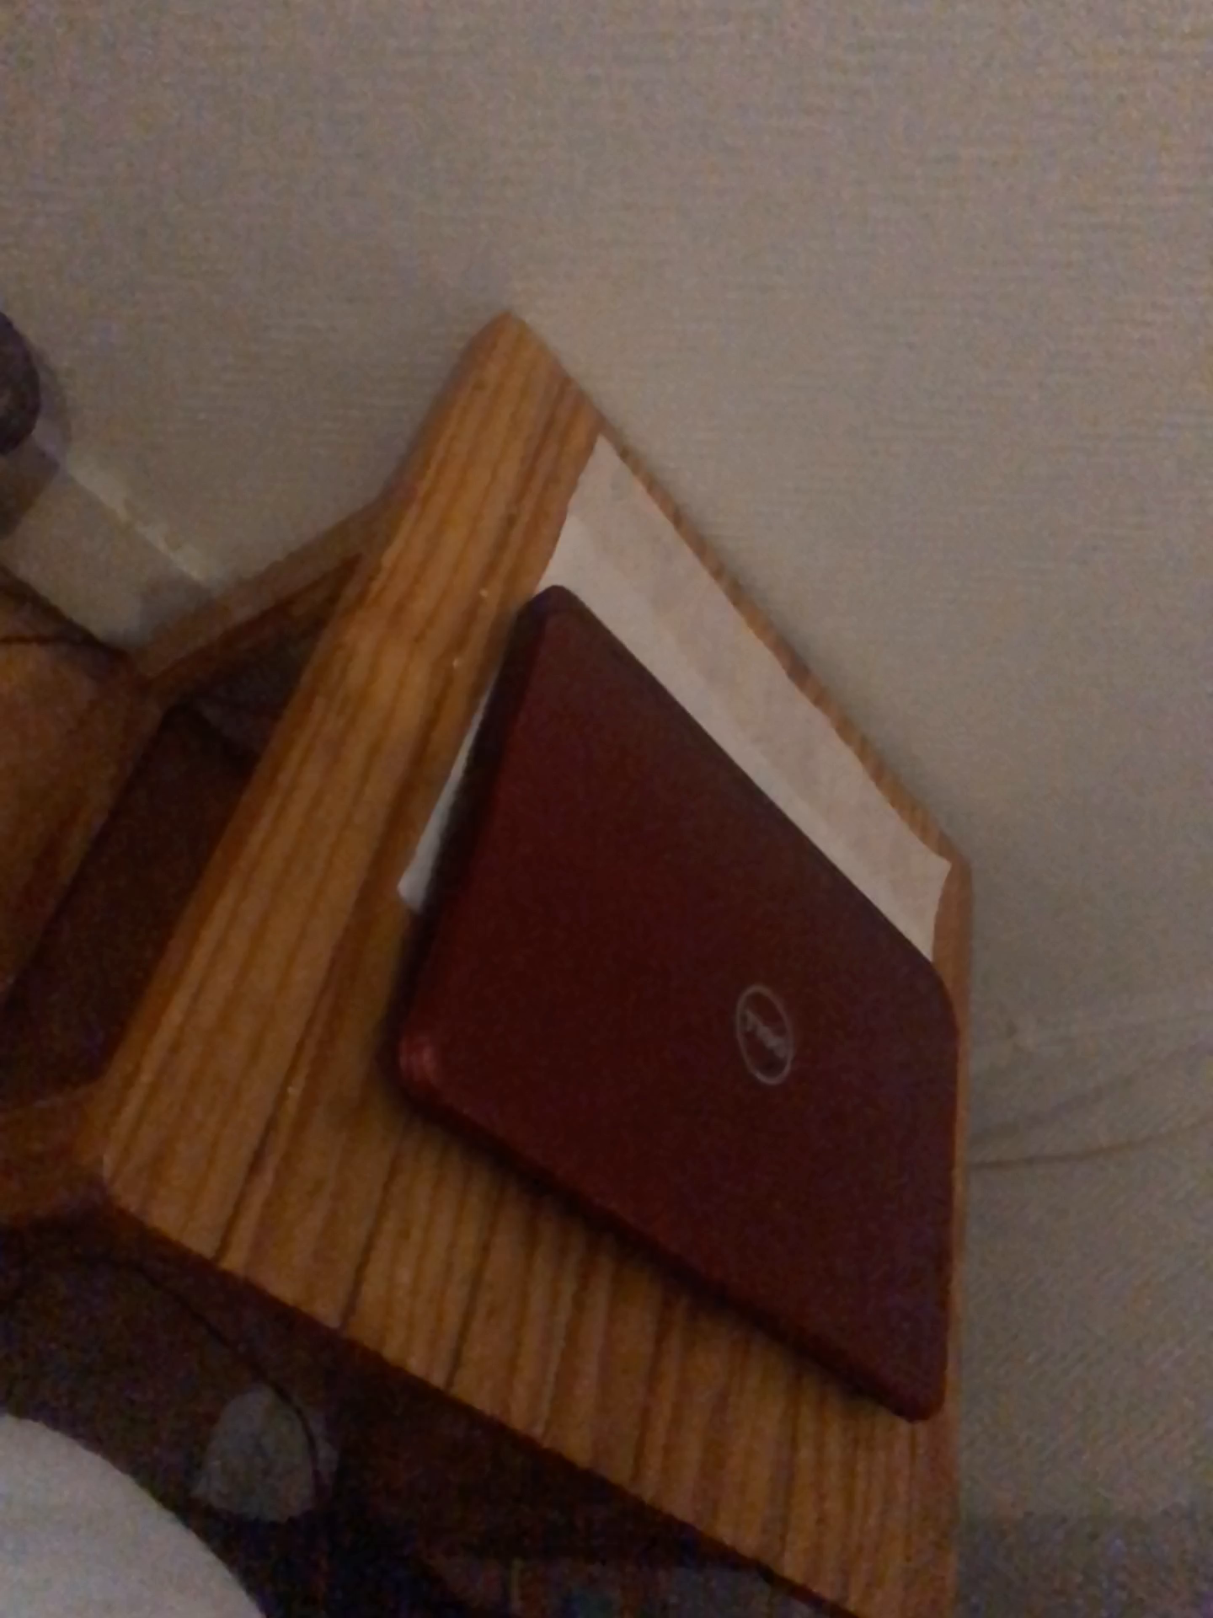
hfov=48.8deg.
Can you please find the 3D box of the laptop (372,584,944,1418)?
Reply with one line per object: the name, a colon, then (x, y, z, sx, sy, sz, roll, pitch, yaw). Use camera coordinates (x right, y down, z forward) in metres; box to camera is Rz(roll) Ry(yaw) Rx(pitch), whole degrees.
laptop: (0.061, 0.100, 0.634, 0.367, 0.011, 0.247, 43, 45, -33)
